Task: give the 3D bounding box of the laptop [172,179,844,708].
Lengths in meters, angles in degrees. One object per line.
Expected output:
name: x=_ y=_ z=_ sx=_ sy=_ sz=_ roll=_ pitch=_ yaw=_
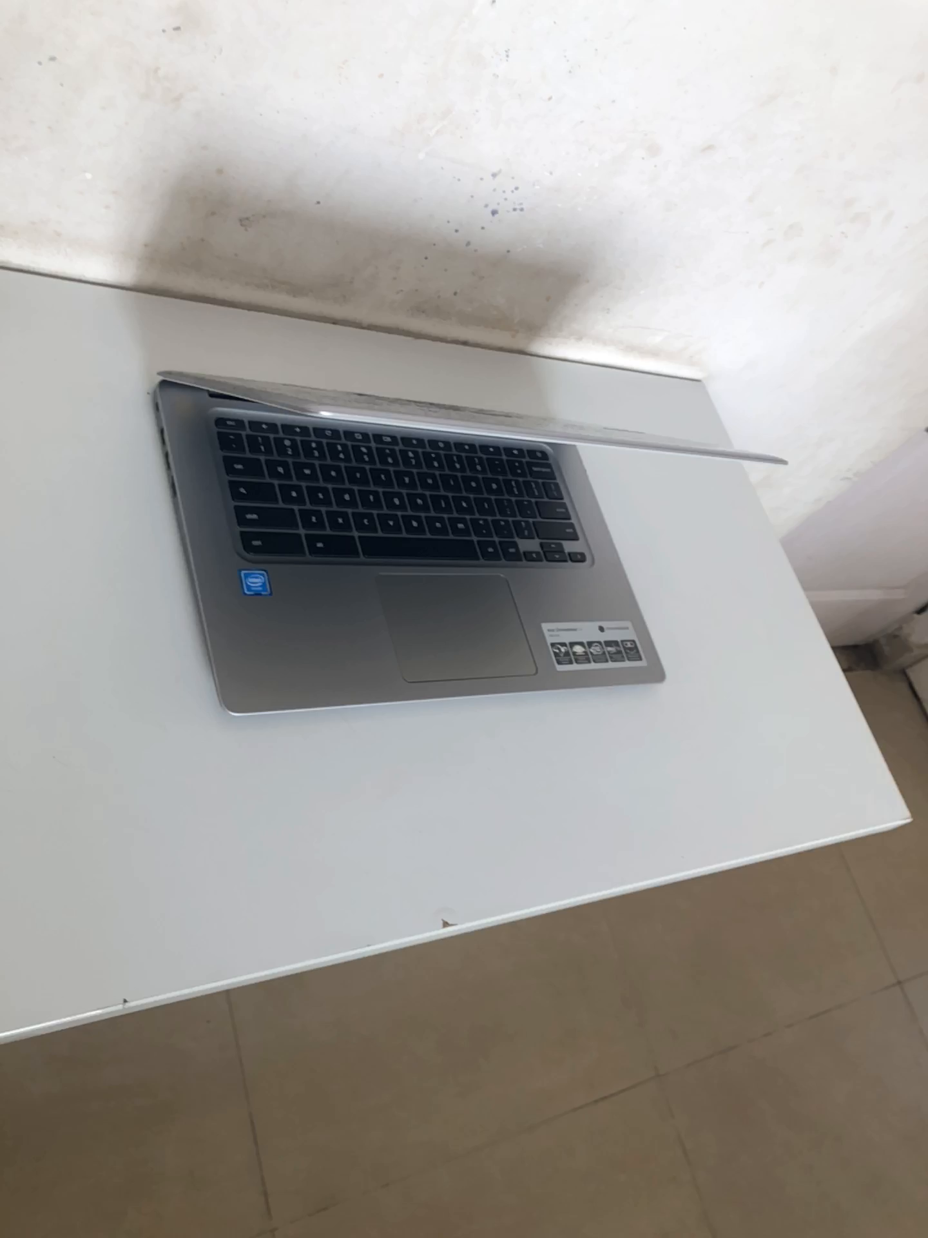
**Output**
laptop: x=0.024 y=-0.090 z=0.621 sx=0.327 sy=0.155 sz=0.222 roll=-1 pitch=61 yaw=-35
